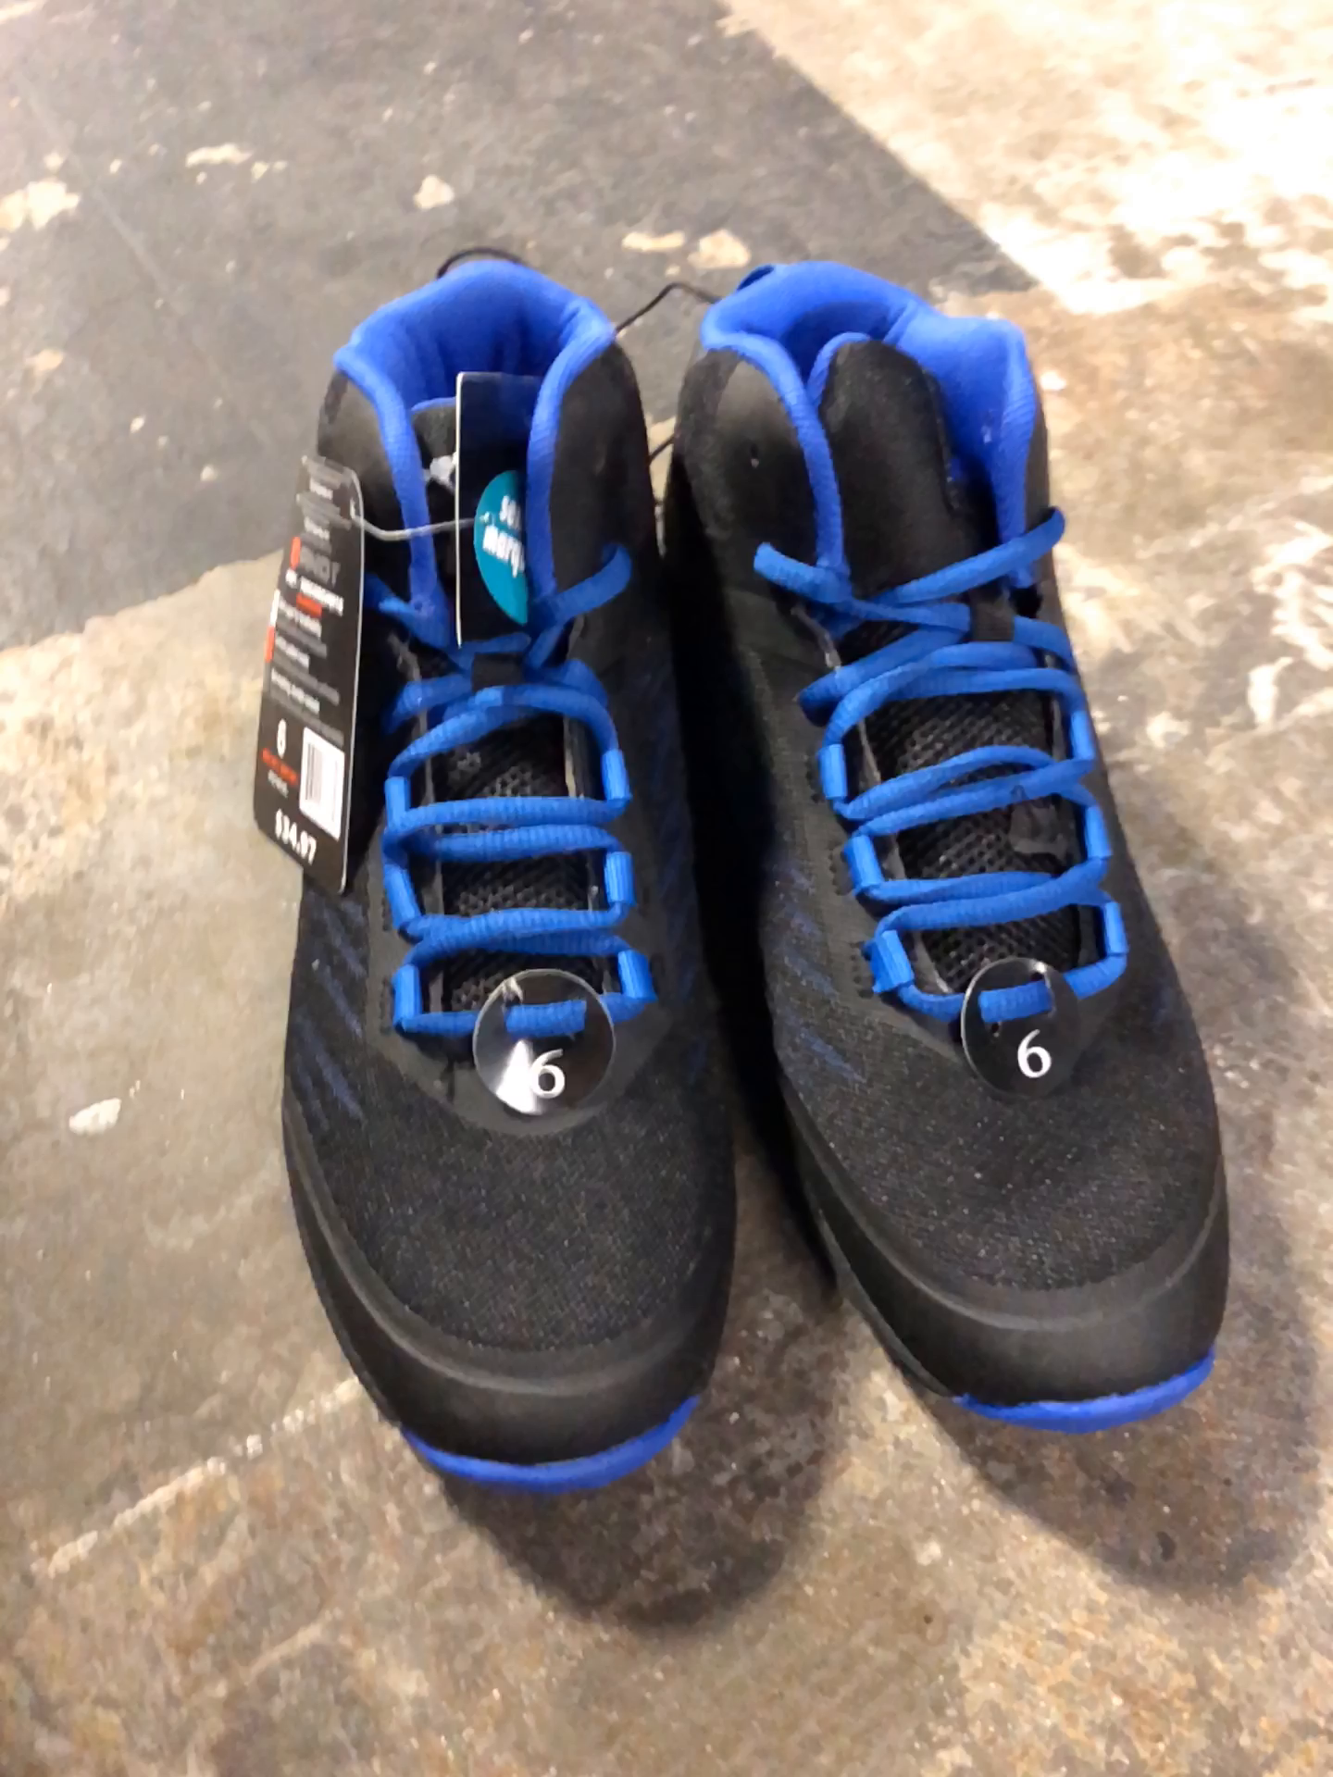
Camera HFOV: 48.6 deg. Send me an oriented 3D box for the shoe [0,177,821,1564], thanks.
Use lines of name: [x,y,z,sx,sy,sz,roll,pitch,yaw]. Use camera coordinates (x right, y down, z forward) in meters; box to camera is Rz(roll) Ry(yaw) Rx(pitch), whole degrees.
shoe: [-0.035,-0.007,0.273,0.100,0.119,0.221,-4,58,1]

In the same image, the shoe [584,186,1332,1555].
shoe: [0.061,-0.009,0.295,0.110,0.119,0.231,-10,59,-3]
